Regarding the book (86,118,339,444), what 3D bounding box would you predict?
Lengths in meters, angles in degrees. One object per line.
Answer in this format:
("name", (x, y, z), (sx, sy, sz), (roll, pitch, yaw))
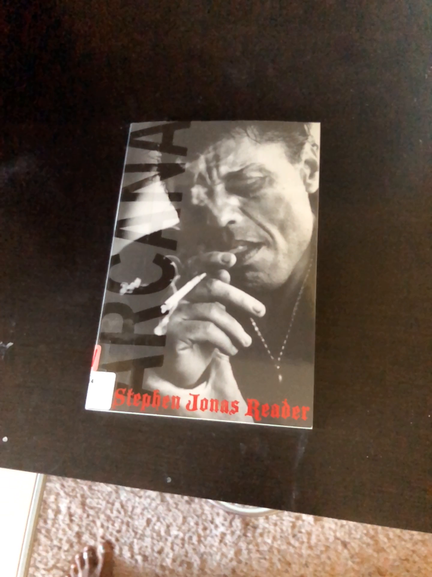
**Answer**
("book", (0.005, -0.018, 0.390), (0.179, 0.024, 0.260), (3, 74, 8))
